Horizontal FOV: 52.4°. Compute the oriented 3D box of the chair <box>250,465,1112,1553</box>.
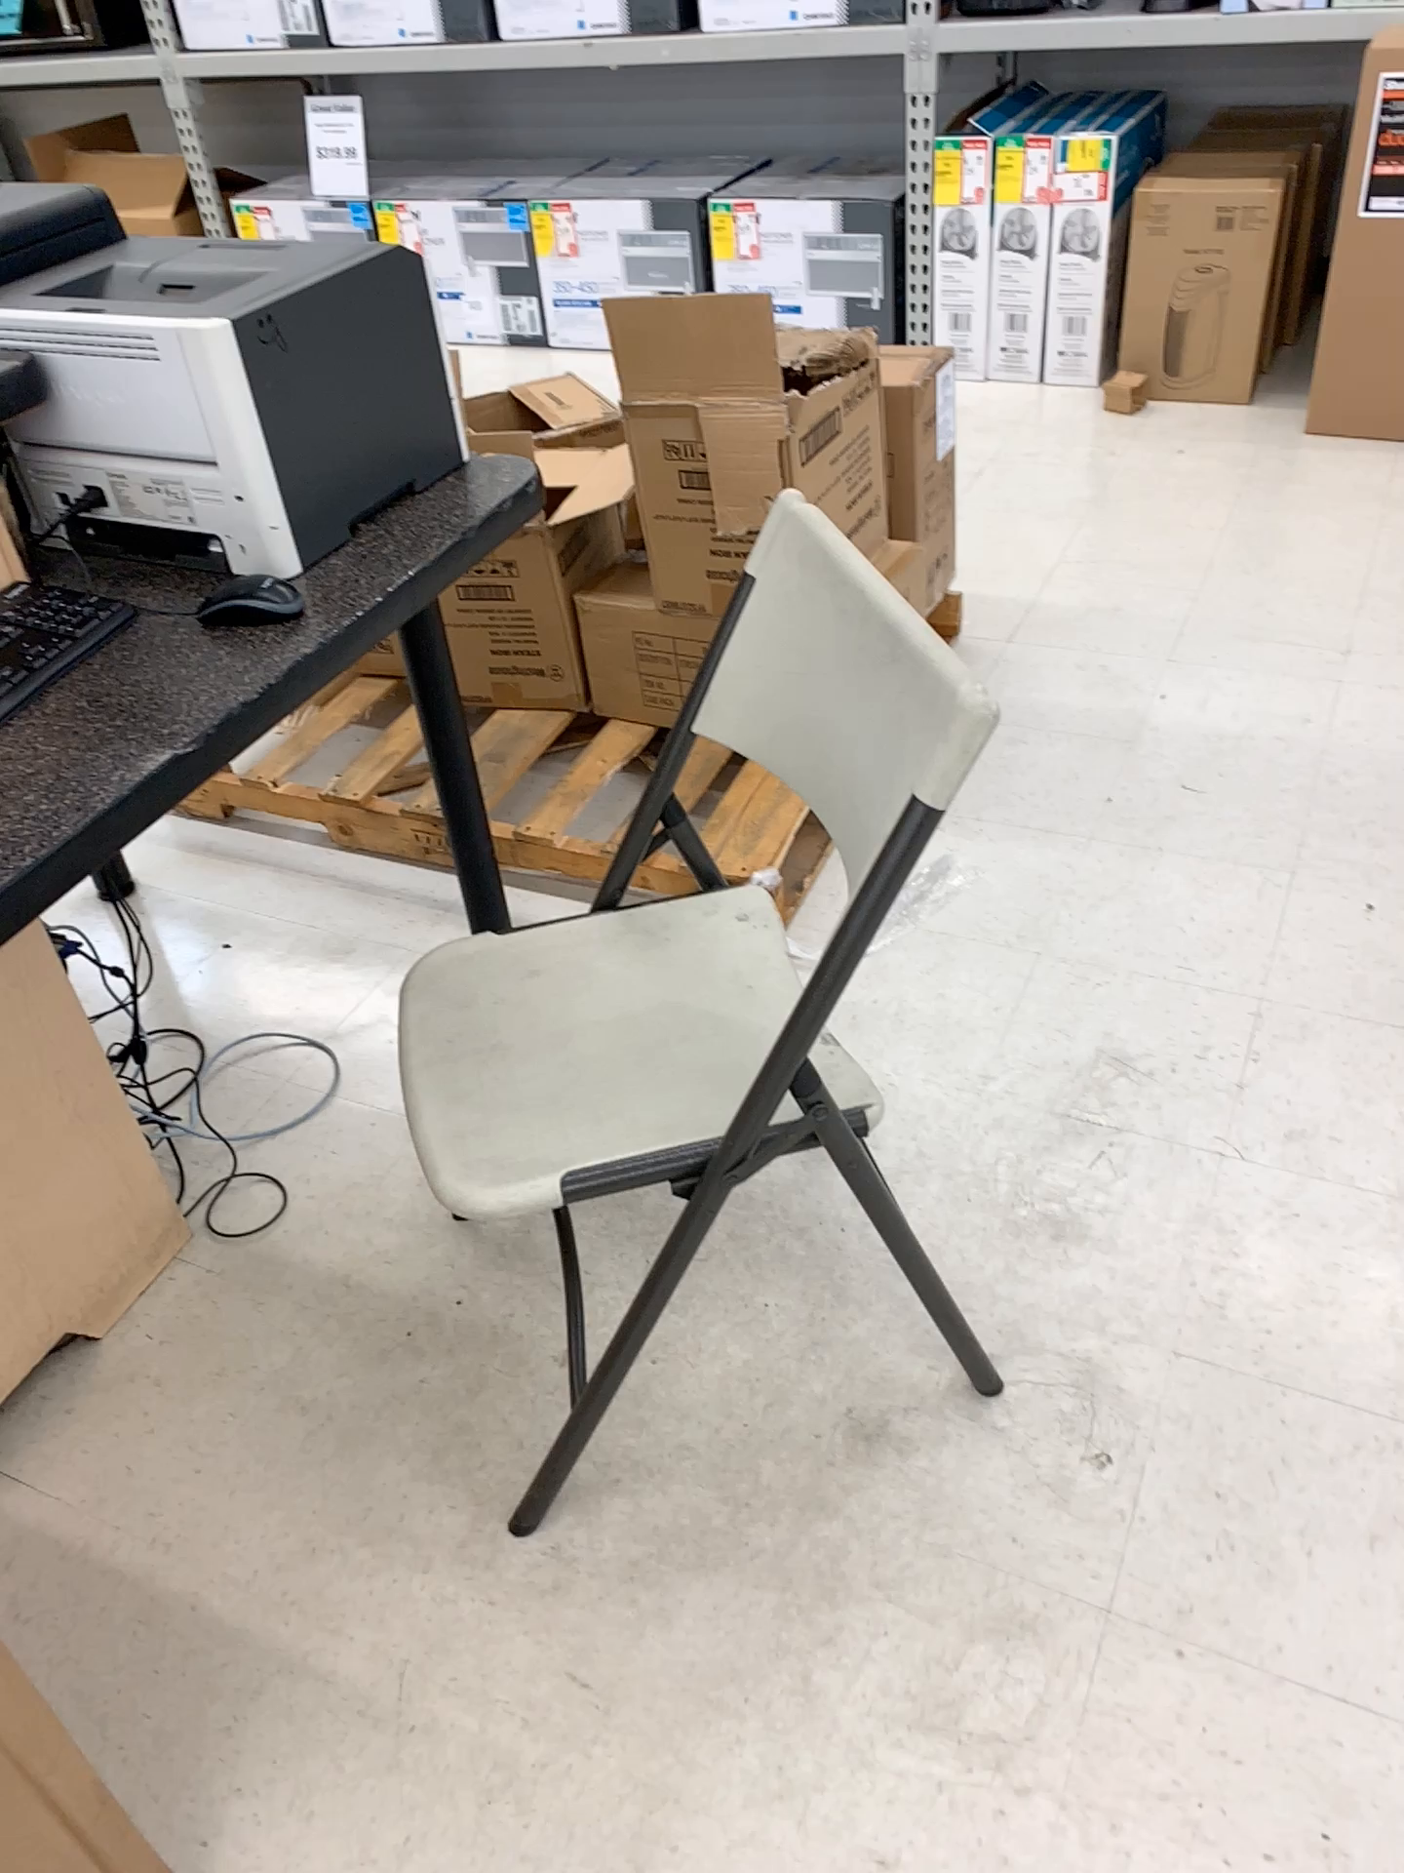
[{"bbox_3d":[-0.031,0.060,1.350,0.560,0.746,0.533,-14,39,-9],"label":"chair"}]
